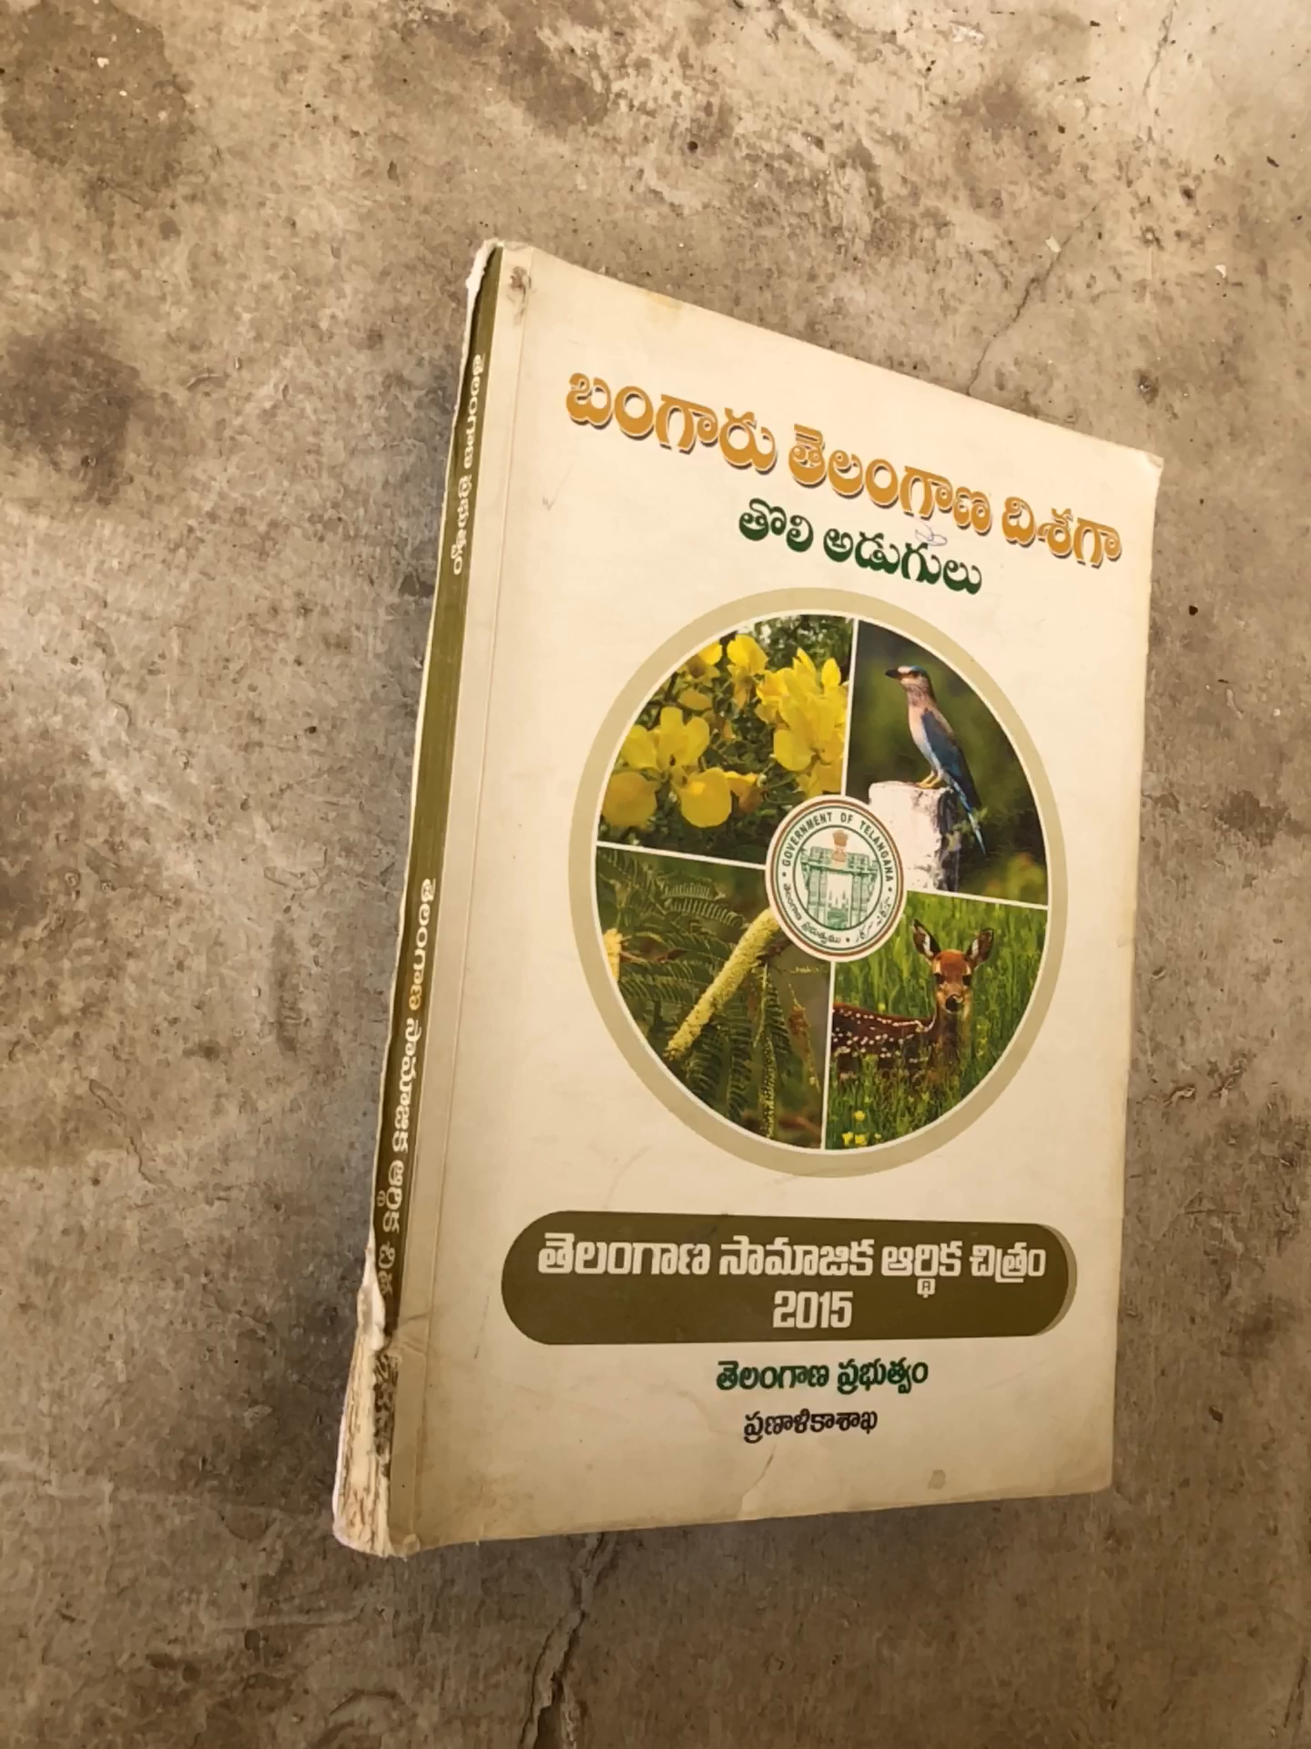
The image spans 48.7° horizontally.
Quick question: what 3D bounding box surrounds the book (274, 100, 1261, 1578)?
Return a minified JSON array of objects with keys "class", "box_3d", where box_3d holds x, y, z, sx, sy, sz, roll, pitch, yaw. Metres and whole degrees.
[{"class":"book","box_3d":[0.040,0.000,0.354,0.220,0.060,0.290,8,83,-25]}]
